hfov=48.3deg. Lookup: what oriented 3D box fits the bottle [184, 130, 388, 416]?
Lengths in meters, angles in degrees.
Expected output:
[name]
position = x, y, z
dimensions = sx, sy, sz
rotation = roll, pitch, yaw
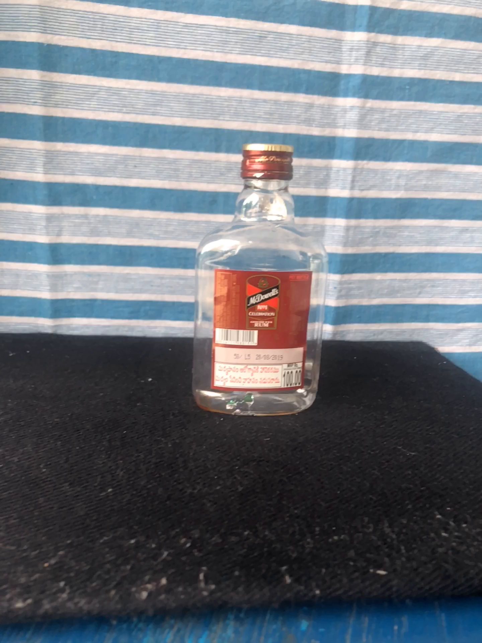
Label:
[bottle]
position = 0.016, -0.022, 0.267
dimensions = 0.080, 0.129, 0.040
rotation = 3, 17, -8
